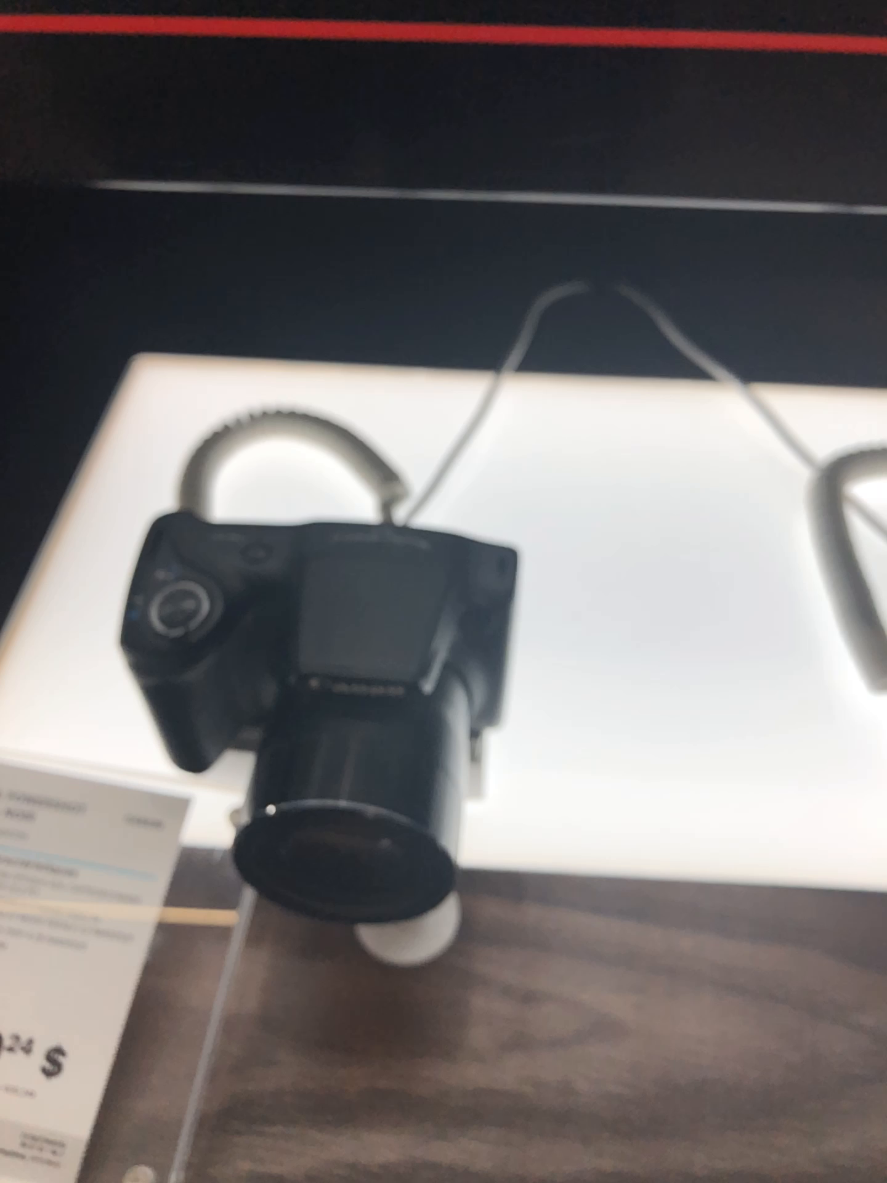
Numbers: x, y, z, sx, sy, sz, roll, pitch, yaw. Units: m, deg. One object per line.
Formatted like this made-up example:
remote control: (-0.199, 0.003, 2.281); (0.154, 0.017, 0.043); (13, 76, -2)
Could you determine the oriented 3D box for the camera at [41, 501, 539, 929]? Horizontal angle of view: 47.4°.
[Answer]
camera: (-0.031, 0.032, 0.262); (0.102, 0.074, 0.081); (1, 46, 0)
